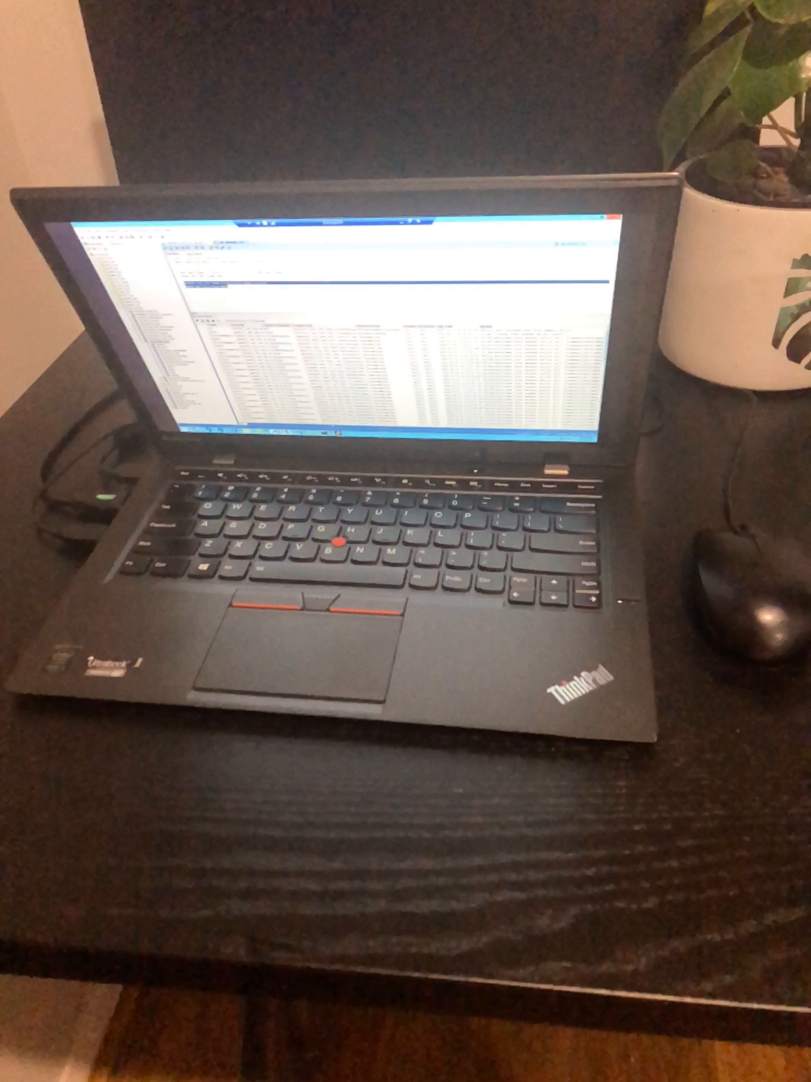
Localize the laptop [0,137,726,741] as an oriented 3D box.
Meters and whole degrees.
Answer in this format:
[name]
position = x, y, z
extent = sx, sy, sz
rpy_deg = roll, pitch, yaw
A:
[laptop]
position = -0.040, -0.071, 0.479
extent = 0.340, 0.214, 0.245
rpy_deg = 2, 36, 10
